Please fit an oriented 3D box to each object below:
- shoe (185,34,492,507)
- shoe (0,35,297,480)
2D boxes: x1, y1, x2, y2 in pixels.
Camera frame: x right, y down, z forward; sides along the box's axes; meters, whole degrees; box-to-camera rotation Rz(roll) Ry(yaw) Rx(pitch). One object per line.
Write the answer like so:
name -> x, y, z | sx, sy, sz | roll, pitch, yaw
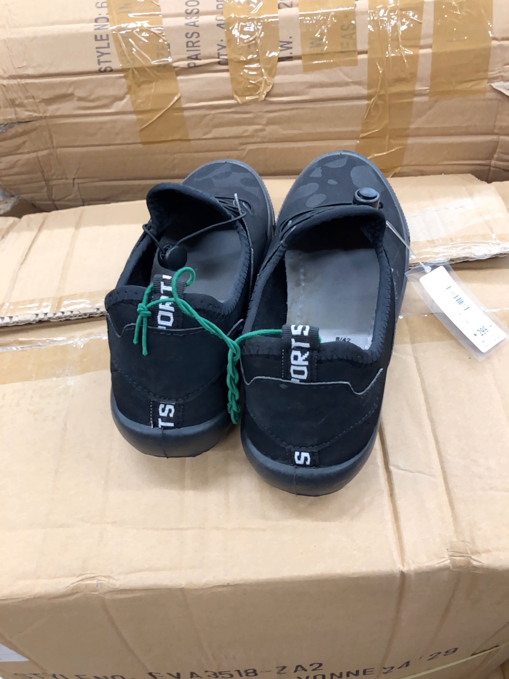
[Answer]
shoe -> 0.054, -0.073, 0.378 | 0.120, 0.129, 0.322 | 2, 48, 7
shoe -> -0.039, -0.079, 0.388 | 0.120, 0.129, 0.312 | 2, 48, 7
